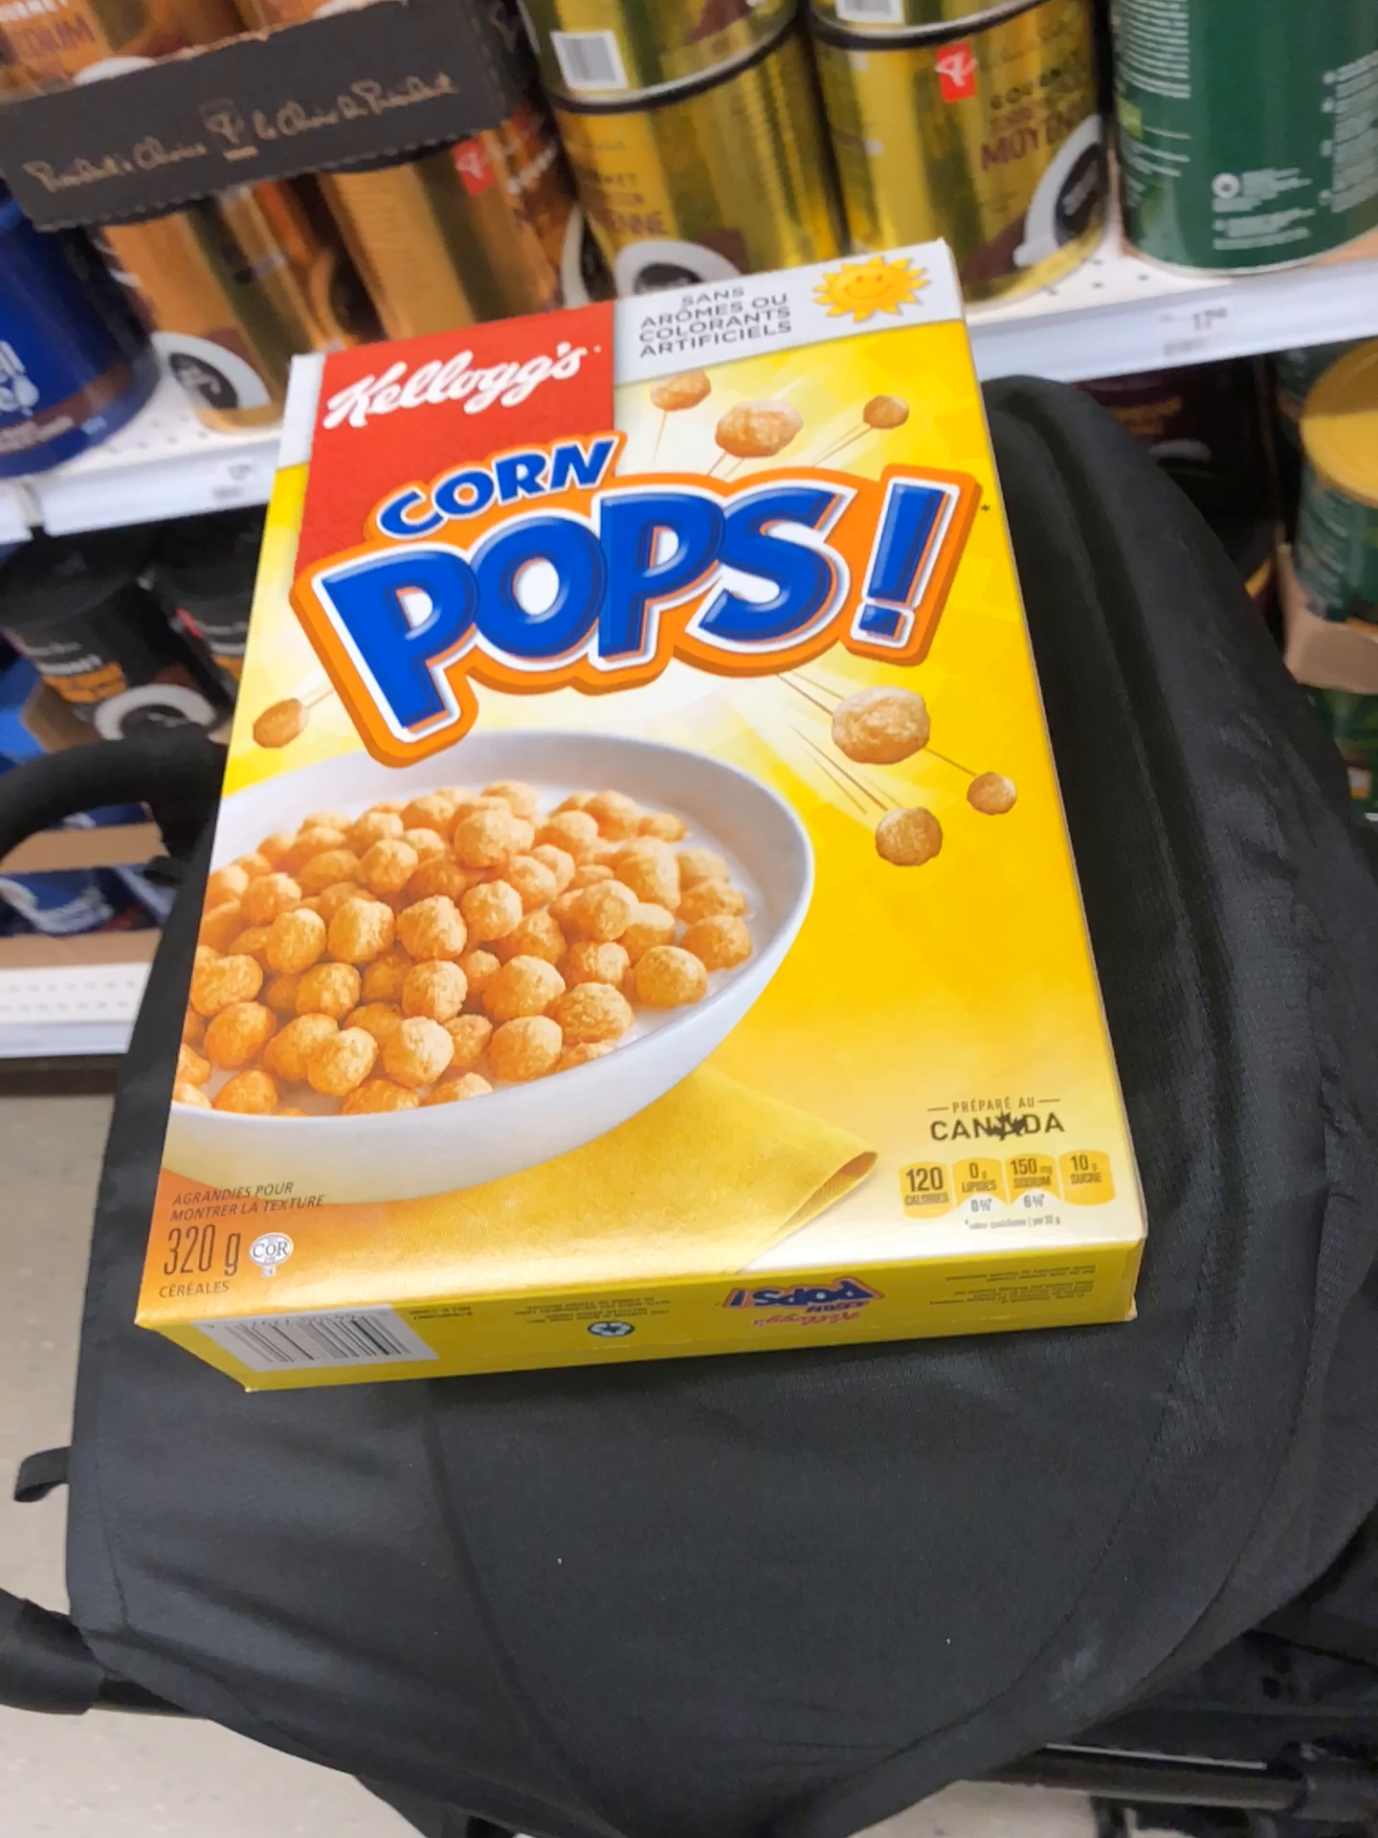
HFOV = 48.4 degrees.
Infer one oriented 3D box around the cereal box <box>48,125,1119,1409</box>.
[{"bbox_3d":[-0.023,-0.056,0.385,0.200,0.060,0.321,-8,58,10],"label":"cereal box"}]
